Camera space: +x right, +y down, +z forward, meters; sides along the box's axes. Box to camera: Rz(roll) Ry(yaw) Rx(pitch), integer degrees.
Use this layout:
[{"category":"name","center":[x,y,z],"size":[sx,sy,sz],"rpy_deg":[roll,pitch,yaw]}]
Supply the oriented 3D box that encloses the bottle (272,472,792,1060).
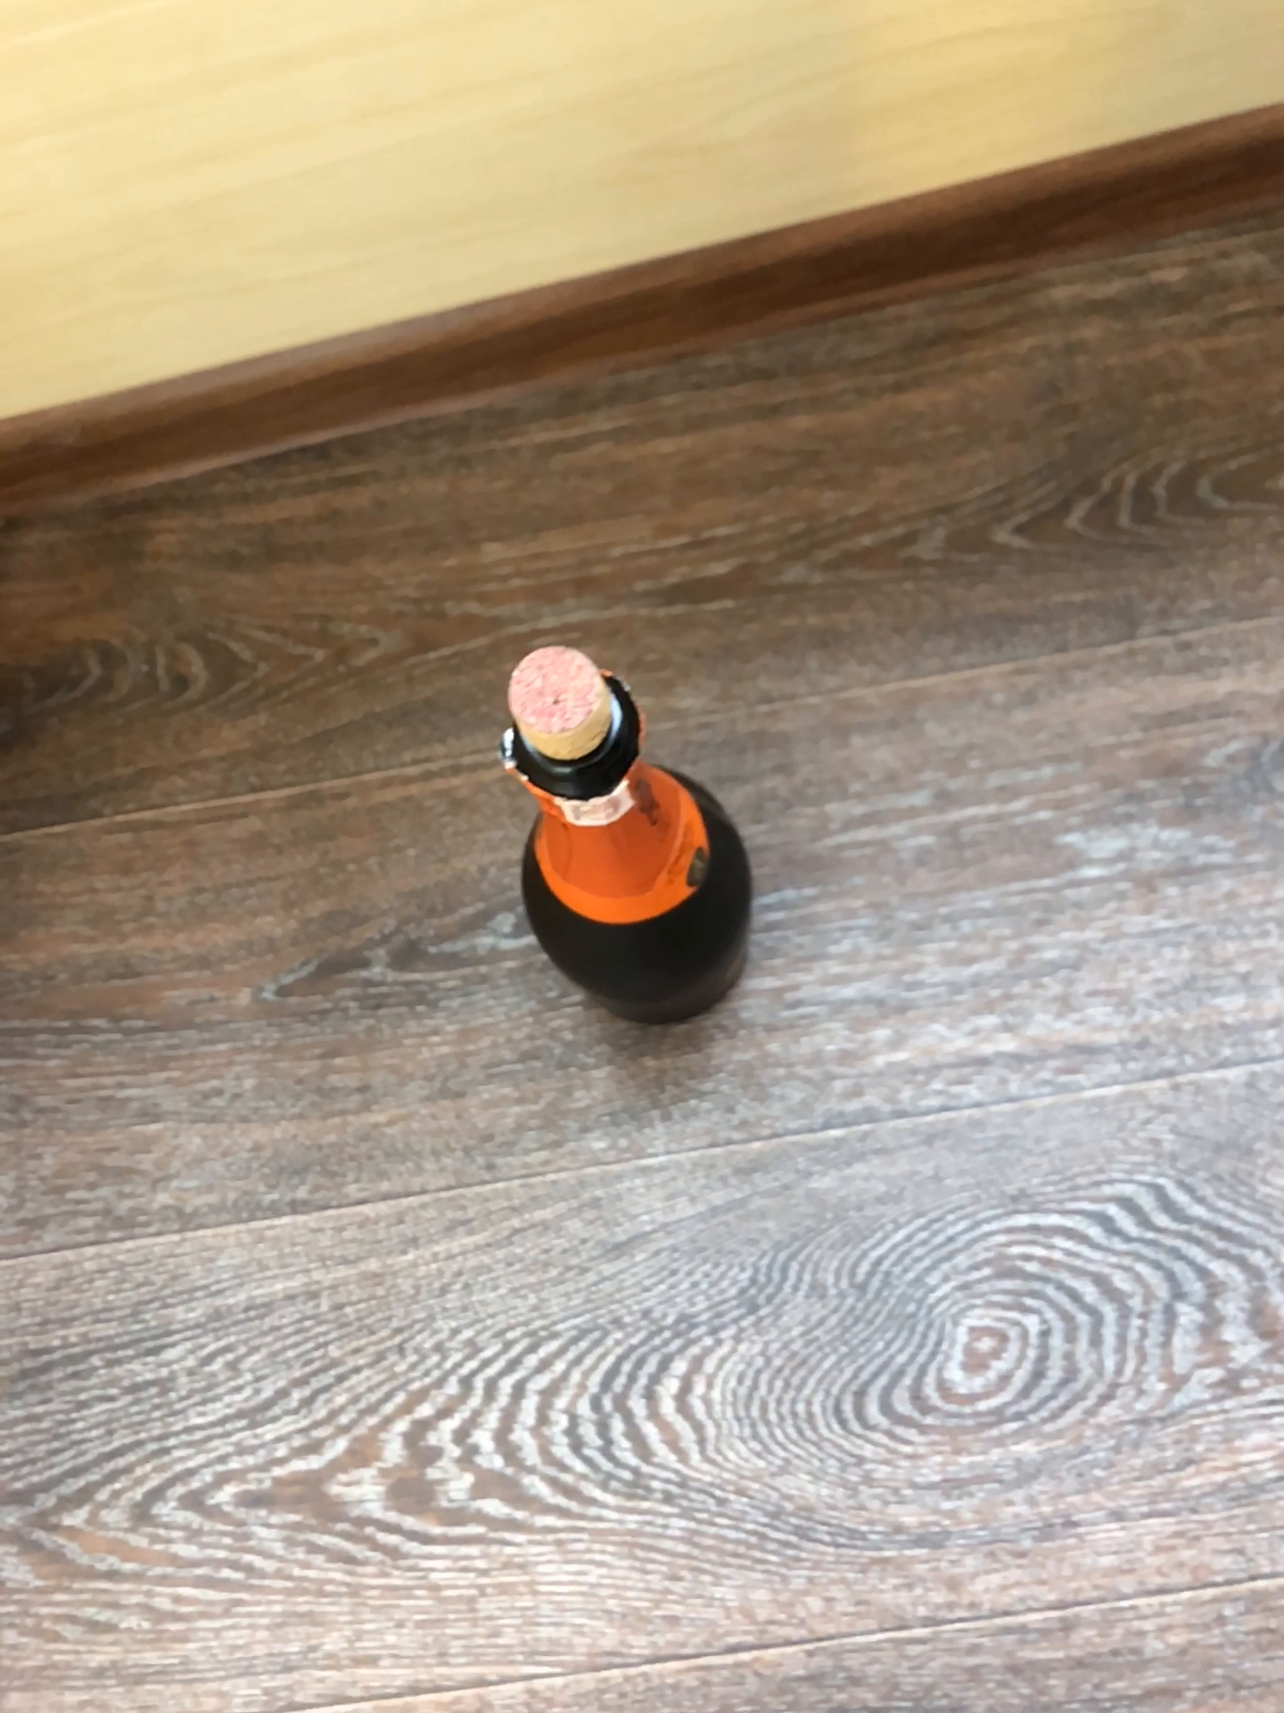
[{"category":"bottle","center":[-0.009,-0.002,0.490],"size":[0.100,0.329,0.092],"rpy_deg":[-1,77,6]}]
